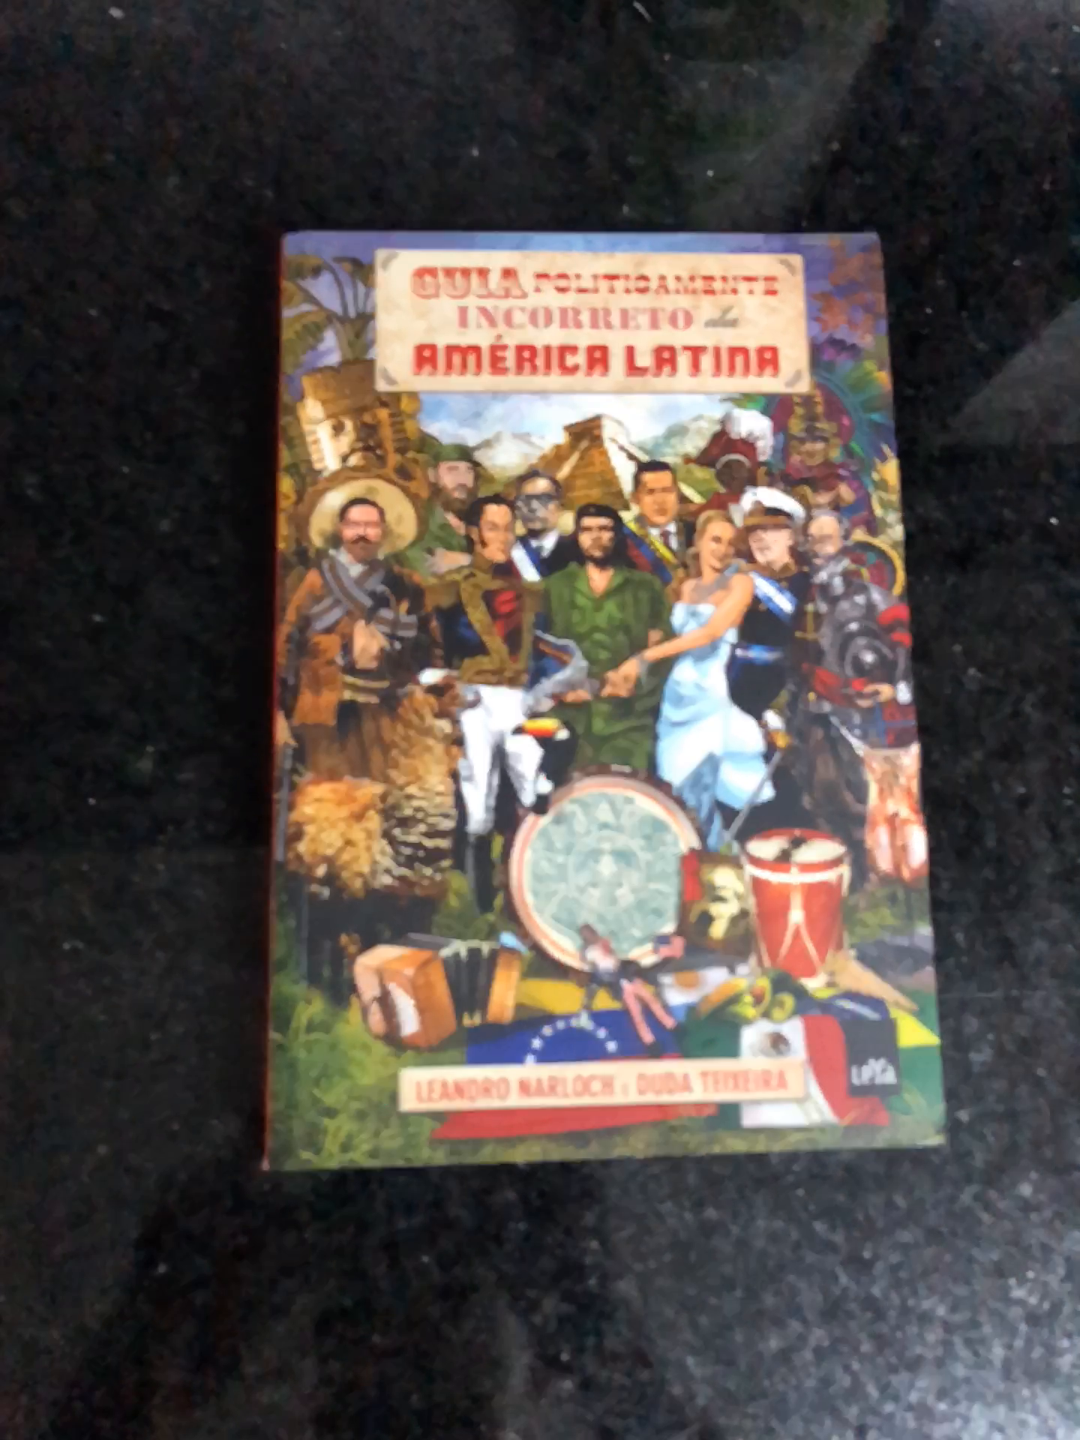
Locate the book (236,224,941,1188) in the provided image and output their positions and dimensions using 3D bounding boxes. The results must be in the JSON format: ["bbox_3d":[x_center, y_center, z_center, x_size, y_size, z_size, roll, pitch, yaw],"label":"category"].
[{"bbox_3d":[0.007,-0.009,0.288,0.150,0.040,0.220,-1,80,-3],"label":"book"}]
